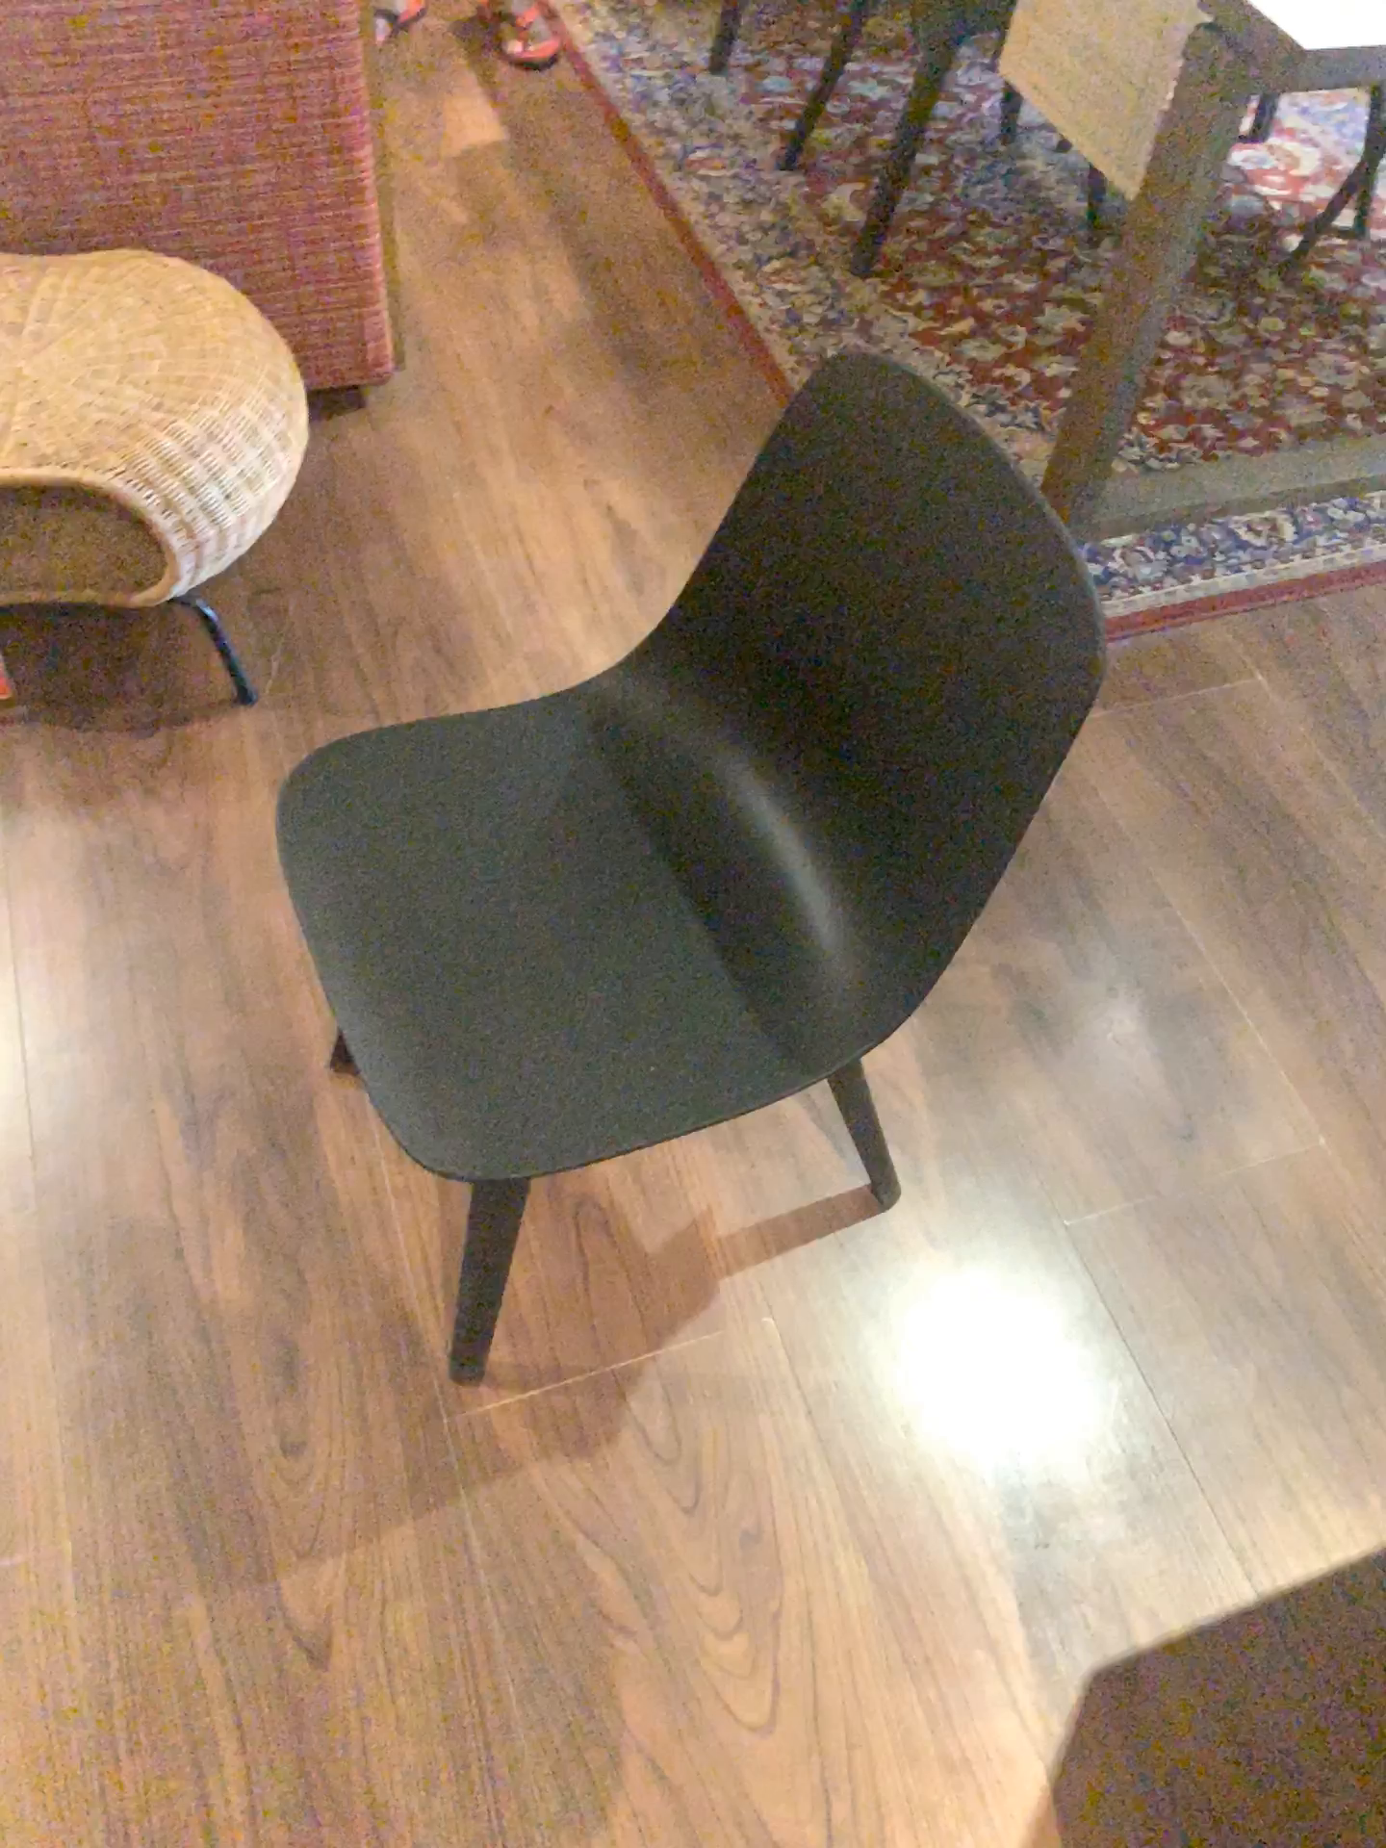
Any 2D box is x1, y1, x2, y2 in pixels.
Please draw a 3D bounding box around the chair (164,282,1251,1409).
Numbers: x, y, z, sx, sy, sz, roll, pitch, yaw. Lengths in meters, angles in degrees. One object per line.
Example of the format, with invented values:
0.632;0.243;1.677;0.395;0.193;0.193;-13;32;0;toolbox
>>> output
-0.033;-0.025;1.152;0.530;0.718;0.441;-18;58;-18;chair
